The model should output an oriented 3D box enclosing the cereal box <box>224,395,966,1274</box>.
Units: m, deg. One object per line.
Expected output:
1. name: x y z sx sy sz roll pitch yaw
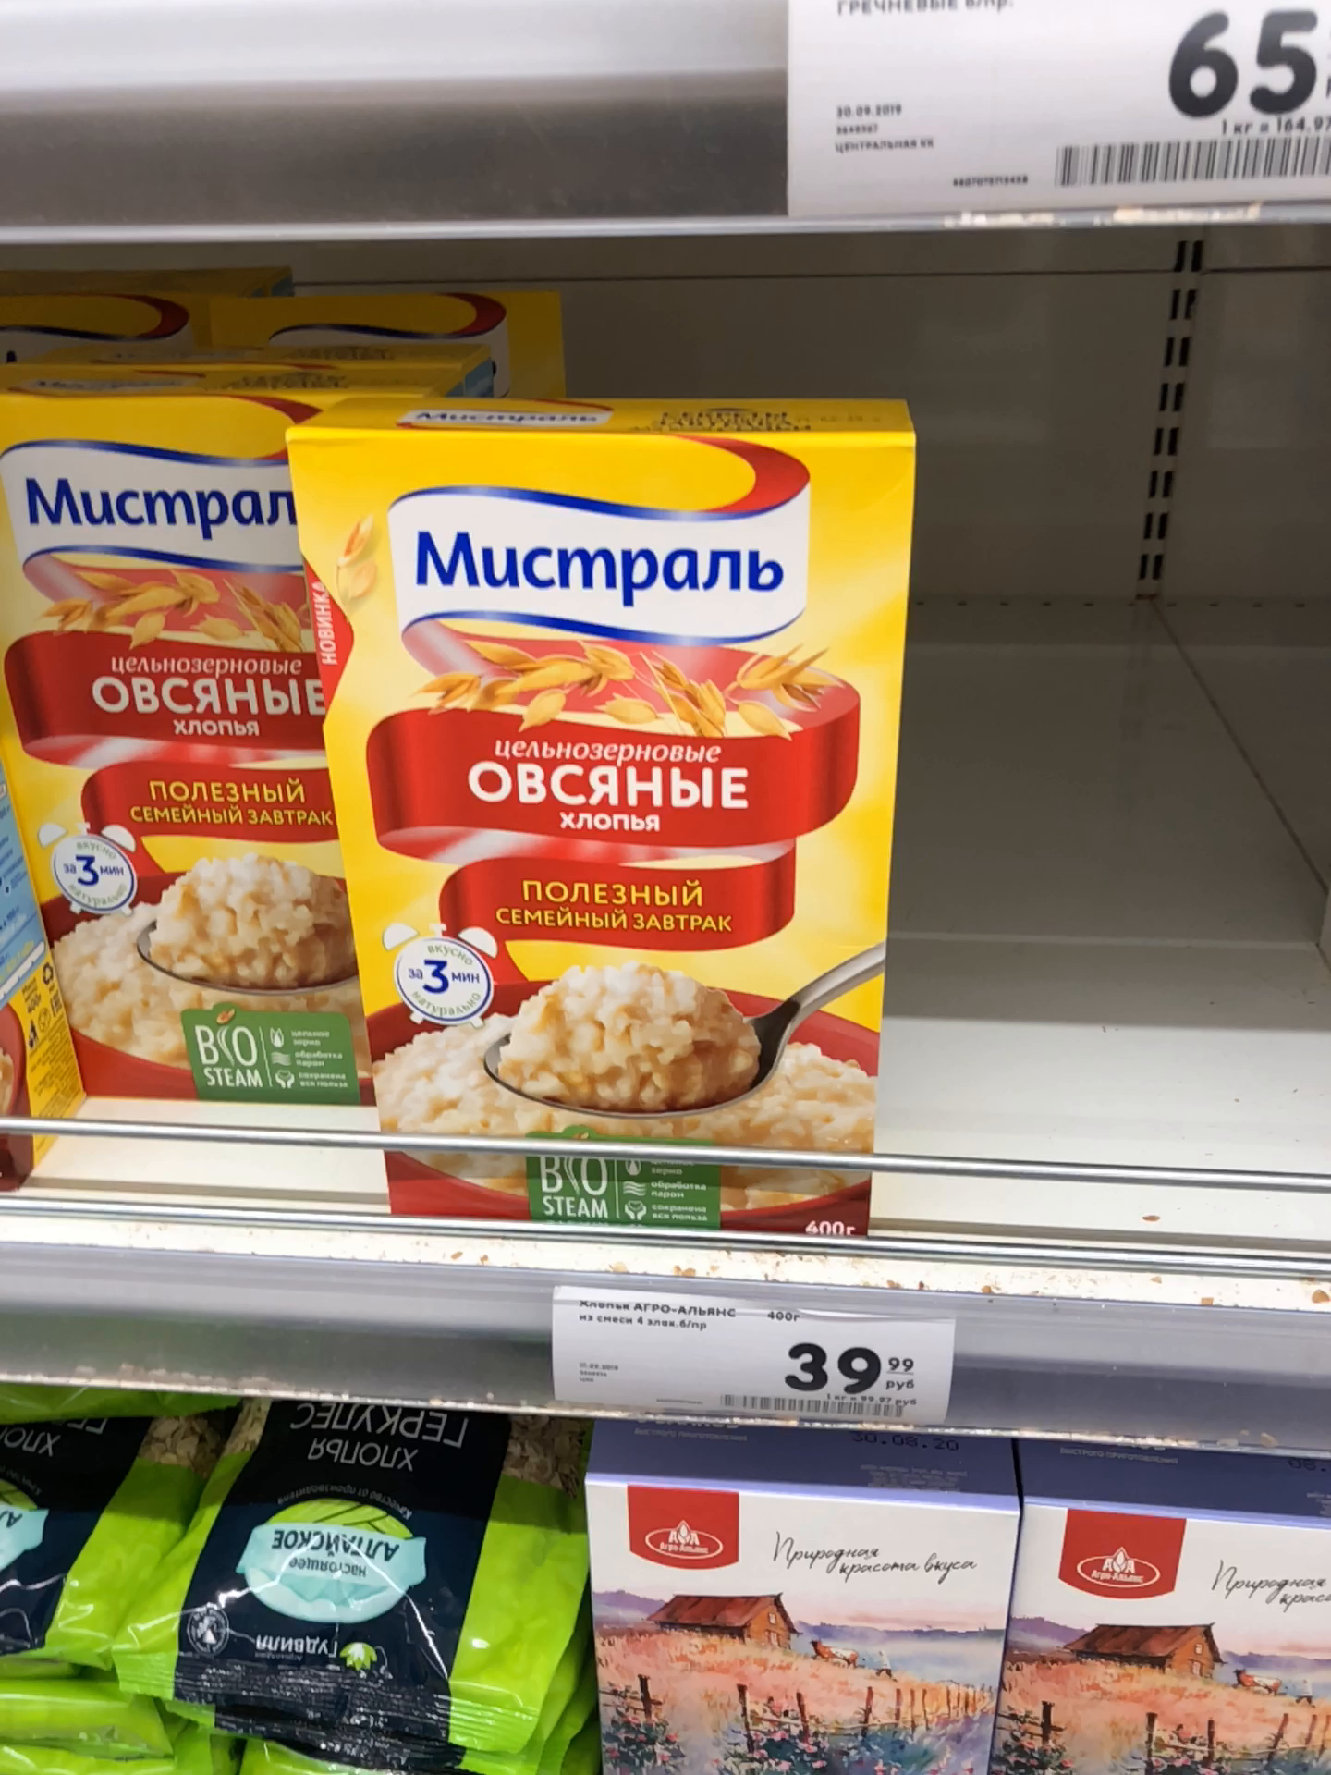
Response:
1. cereal box: -0.011 -0.008 0.362 0.150 0.209 0.050 2 27 6
